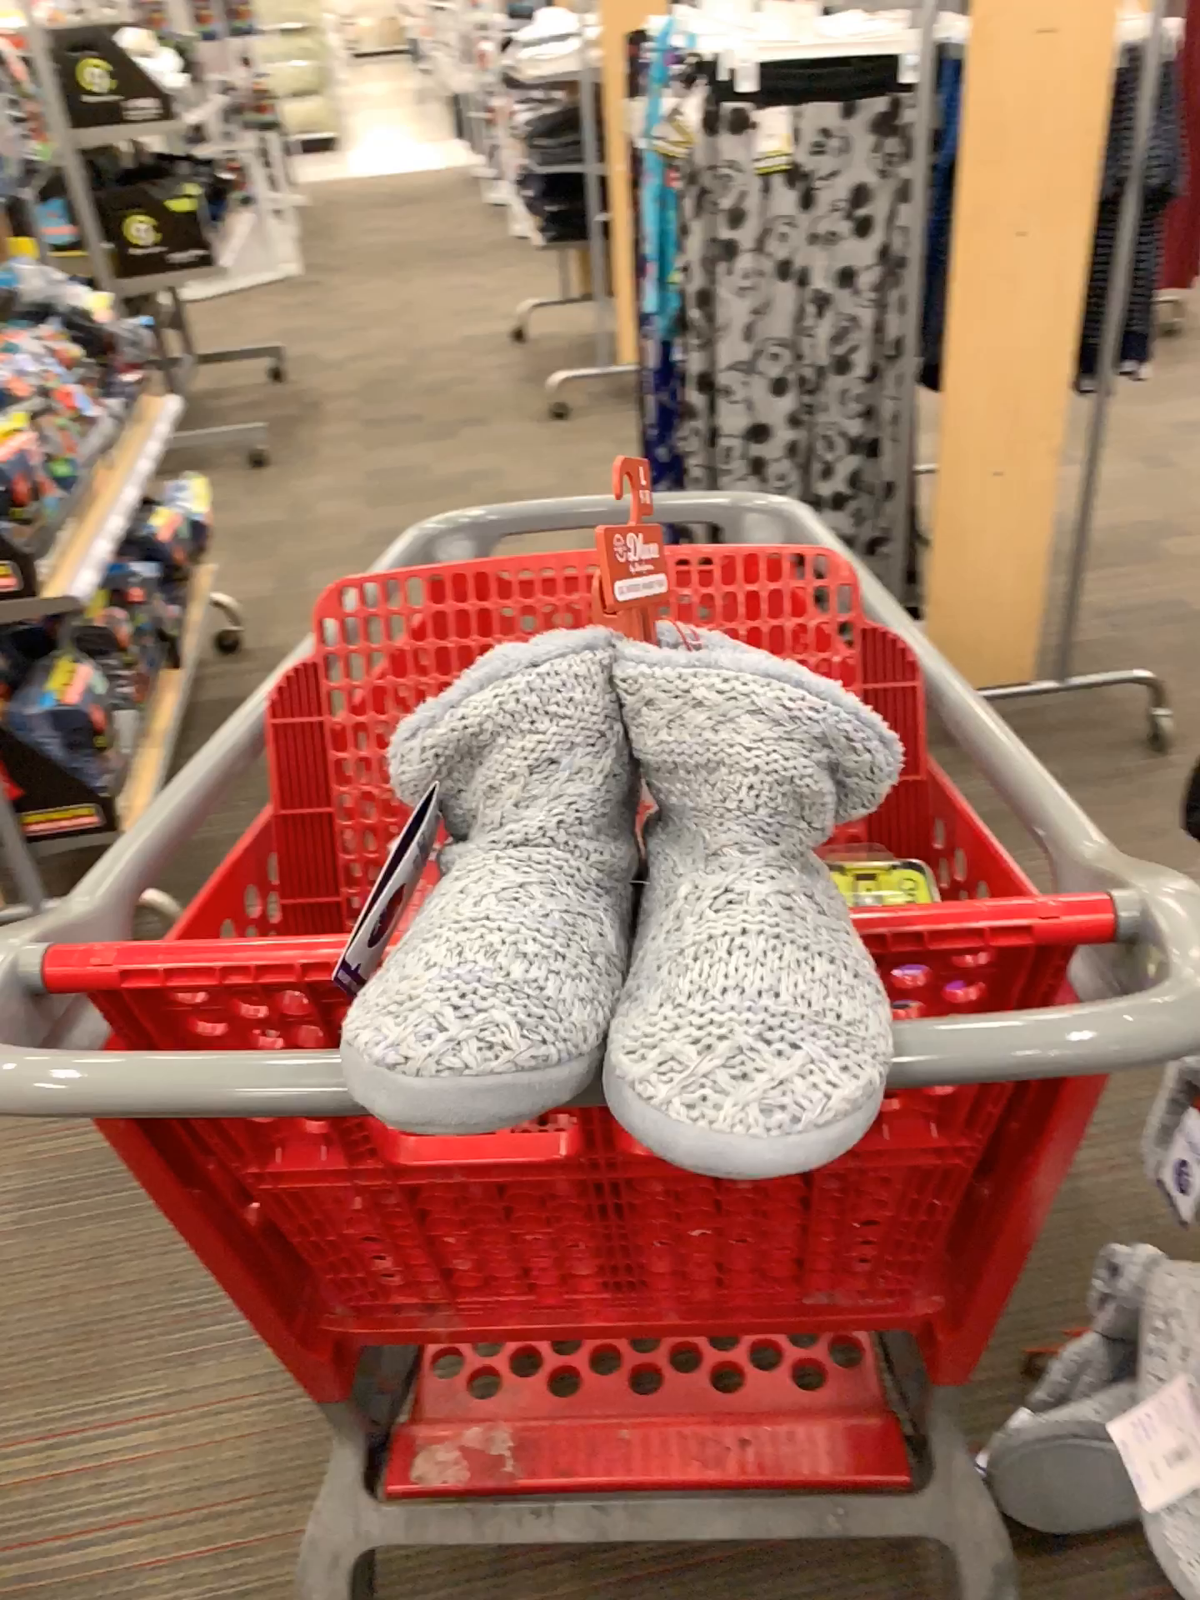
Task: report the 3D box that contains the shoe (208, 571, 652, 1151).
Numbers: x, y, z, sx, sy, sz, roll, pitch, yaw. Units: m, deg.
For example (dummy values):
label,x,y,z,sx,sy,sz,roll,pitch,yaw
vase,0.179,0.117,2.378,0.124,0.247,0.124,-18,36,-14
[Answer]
label,x,y,z,sx,sy,sz,roll,pitch,yaw
shoe,-0.051,0.007,0.540,0.110,0.139,0.251,2,29,10

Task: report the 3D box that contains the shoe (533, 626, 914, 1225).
label,x,y,z,sx,sy,sz,roll,pitch,yaw
shoe,0.057,0.030,0.484,0.110,0.119,0.231,2,29,10
